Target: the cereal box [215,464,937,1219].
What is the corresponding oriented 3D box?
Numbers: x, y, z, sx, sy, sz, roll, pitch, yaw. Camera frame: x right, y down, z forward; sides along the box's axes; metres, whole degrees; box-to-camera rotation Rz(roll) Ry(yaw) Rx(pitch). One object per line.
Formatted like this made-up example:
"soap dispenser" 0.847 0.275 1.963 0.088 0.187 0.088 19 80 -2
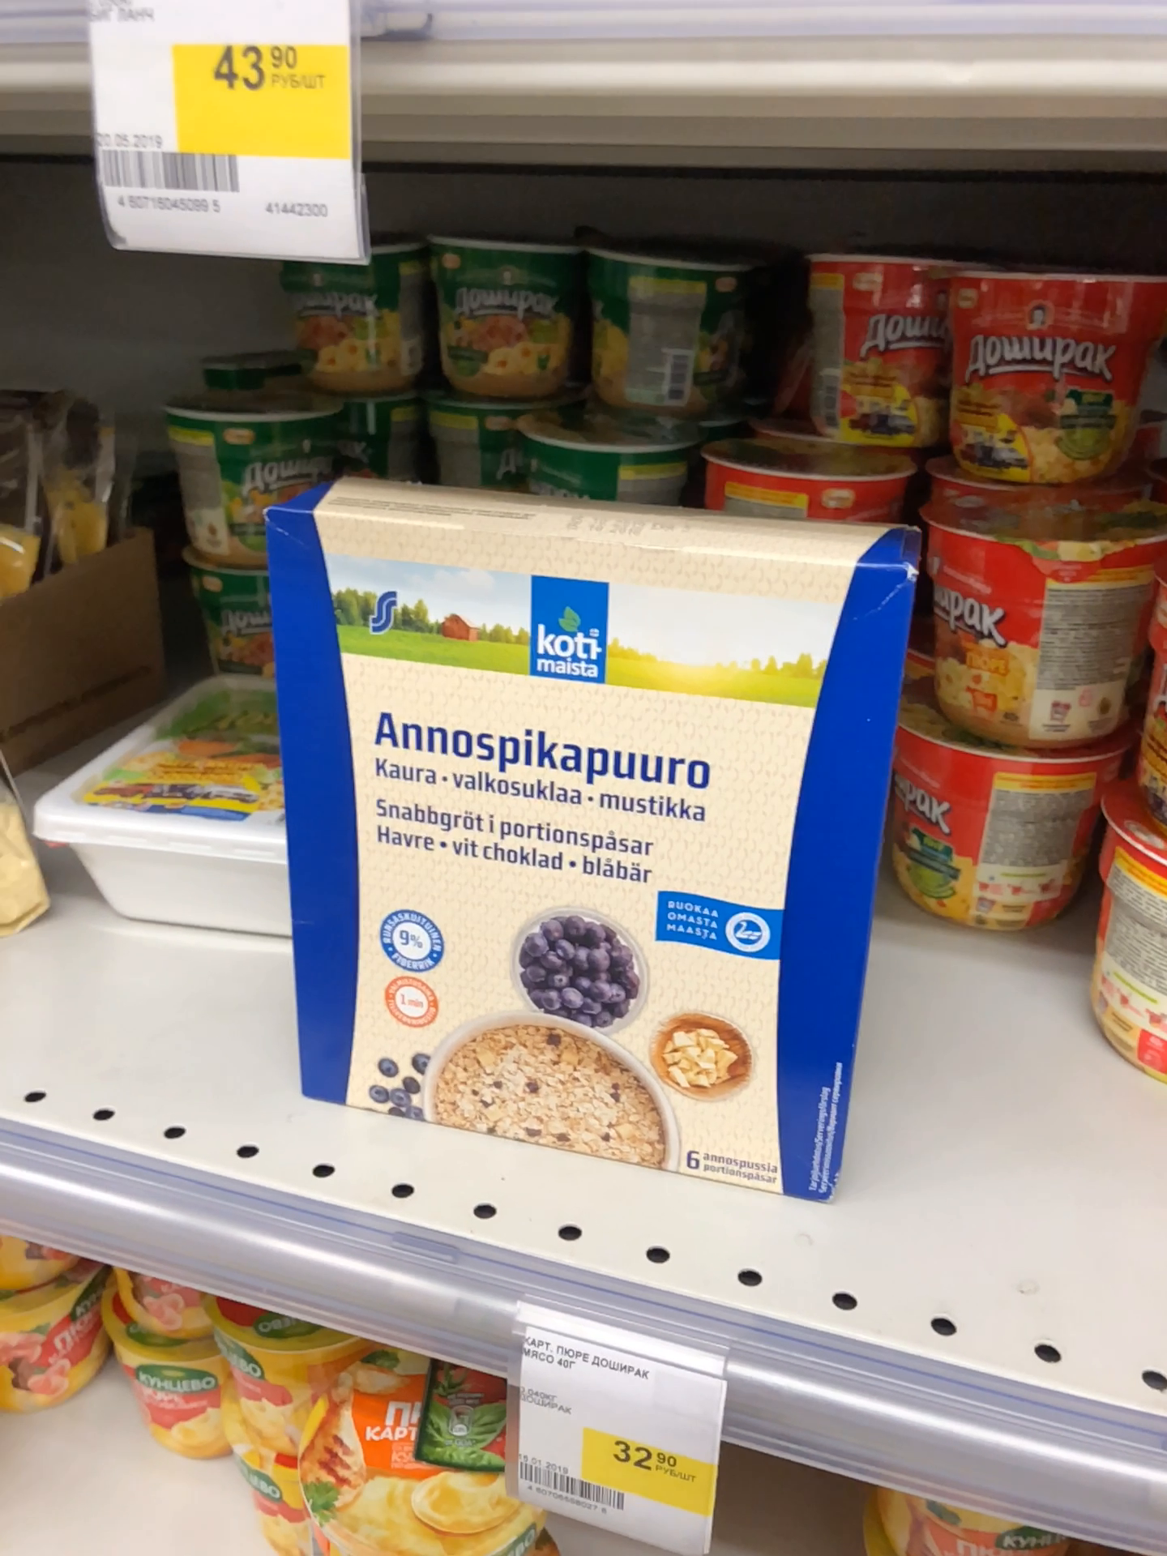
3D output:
"cereal box" -0.003 0.015 0.352 0.170 0.179 0.050 7 24 14
